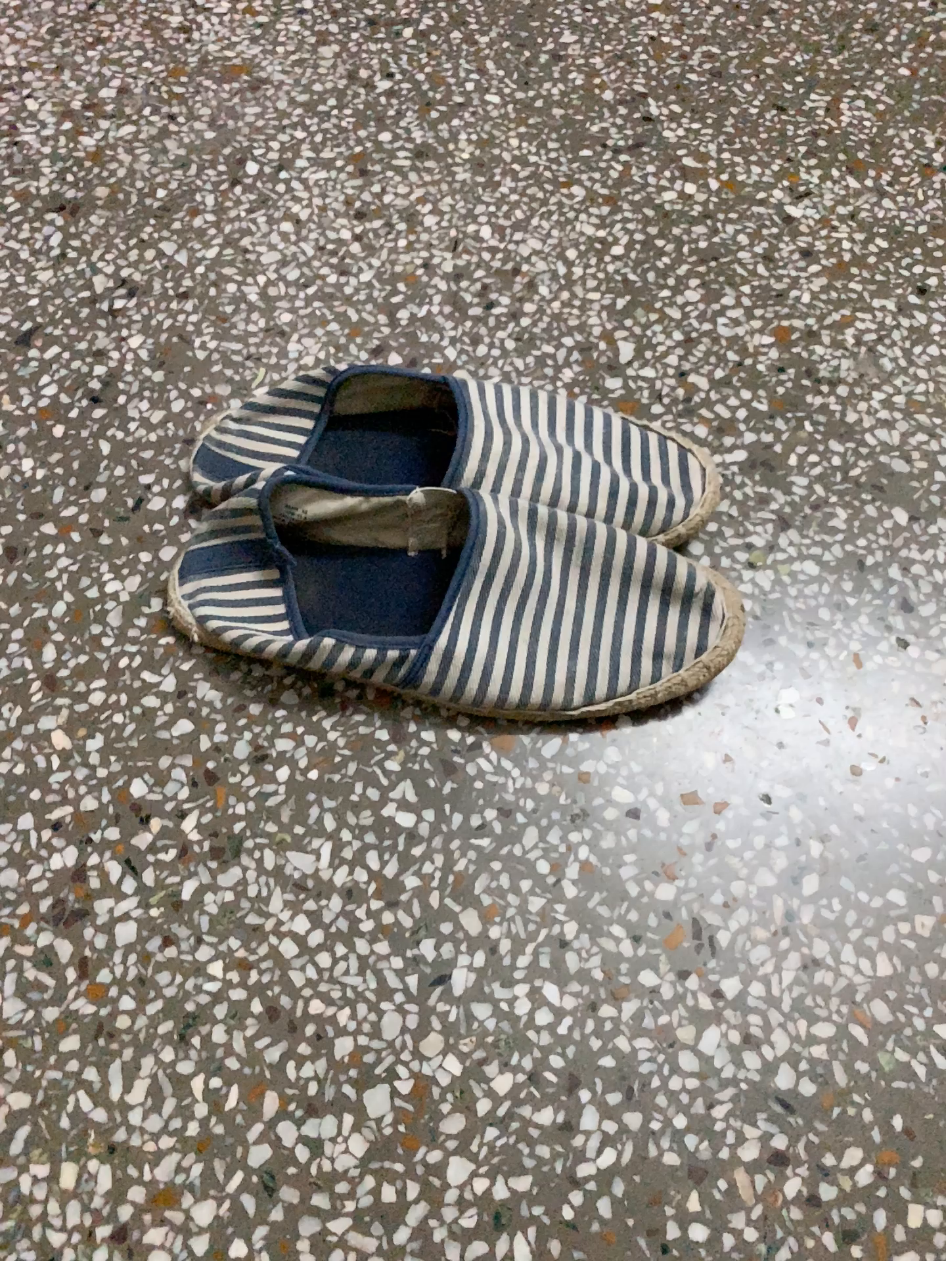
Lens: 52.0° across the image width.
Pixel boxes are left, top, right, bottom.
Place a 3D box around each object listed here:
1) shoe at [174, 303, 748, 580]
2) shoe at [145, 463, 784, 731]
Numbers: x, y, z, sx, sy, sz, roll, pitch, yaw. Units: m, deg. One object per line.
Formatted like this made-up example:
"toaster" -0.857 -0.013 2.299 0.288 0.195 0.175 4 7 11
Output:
"shoe" -0.002 -0.104 0.532 0.290 0.050 0.100 9 64 2
"shoe" -0.002 -0.017 0.483 0.290 0.050 0.100 4 64 0
